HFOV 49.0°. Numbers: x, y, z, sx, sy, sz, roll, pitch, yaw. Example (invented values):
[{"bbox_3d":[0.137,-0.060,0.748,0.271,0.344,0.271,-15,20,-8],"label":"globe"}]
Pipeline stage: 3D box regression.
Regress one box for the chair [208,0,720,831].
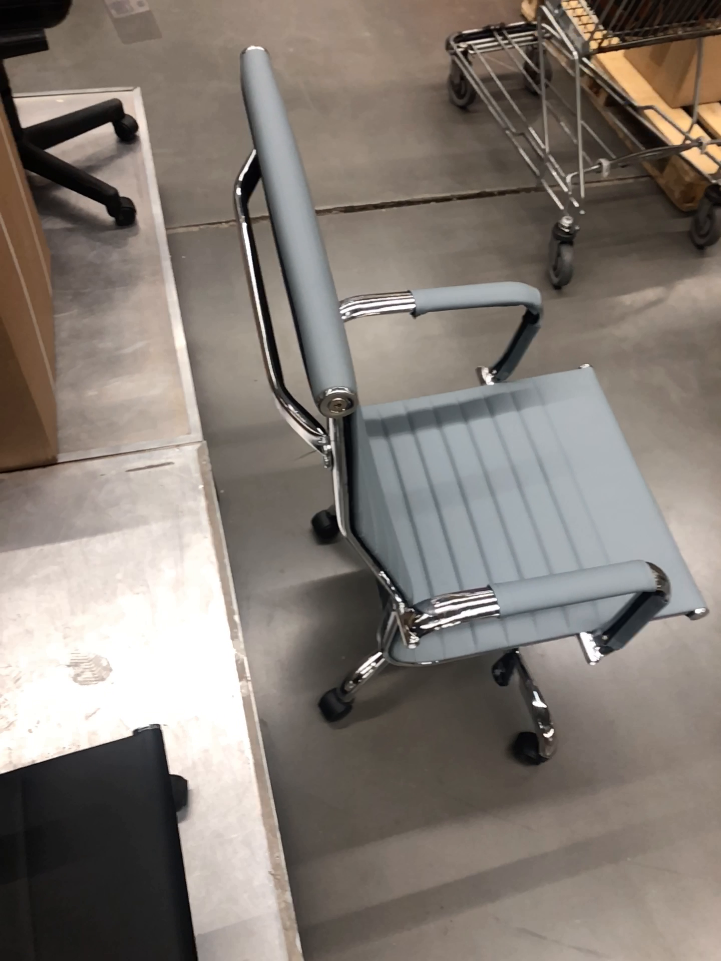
[{"bbox_3d":[0.227,-0.007,1.242,0.751,1.214,0.713,-8,58,-10],"label":"chair"}]
